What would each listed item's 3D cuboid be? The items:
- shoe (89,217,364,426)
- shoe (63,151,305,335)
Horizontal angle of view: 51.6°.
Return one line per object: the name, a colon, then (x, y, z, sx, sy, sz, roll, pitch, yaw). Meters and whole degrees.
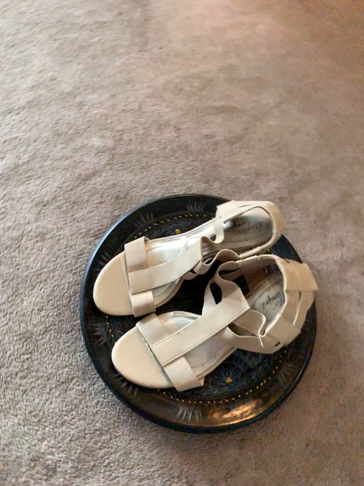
shoe: (0.037, 0.073, 0.365, 0.221, 0.099, 0.100, -20, 71, -18)
shoe: (0.002, -0.002, 0.408, 0.221, 0.099, 0.090, -24, 72, -19)
